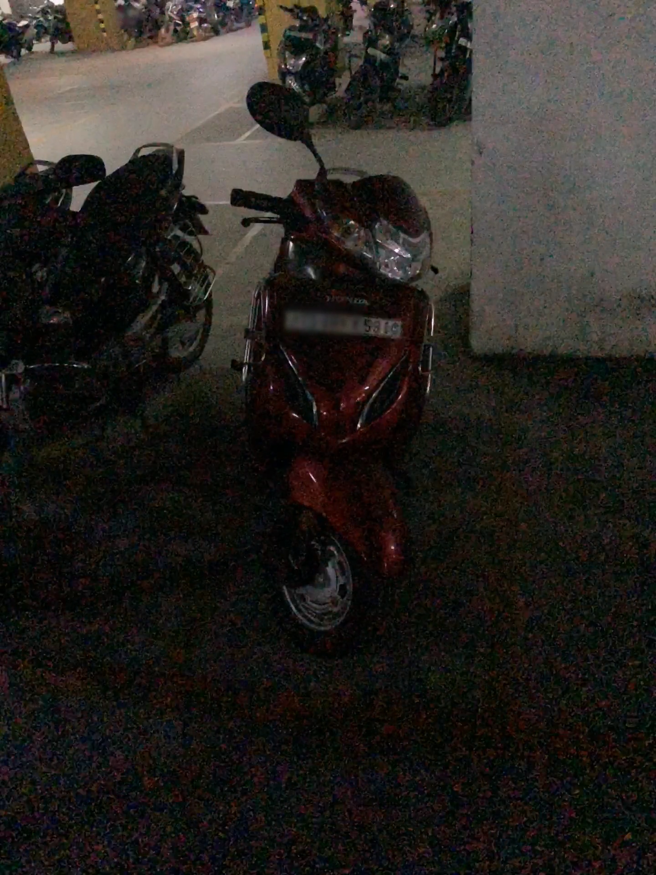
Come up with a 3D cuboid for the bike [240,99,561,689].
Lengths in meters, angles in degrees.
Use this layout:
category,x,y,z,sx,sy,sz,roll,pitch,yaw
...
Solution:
category,x,y,z,sx,sy,sz,roll,pitch,yaw
bike,0.130,-0.222,2.026,0.486,0.909,1.397,-11,44,-4
